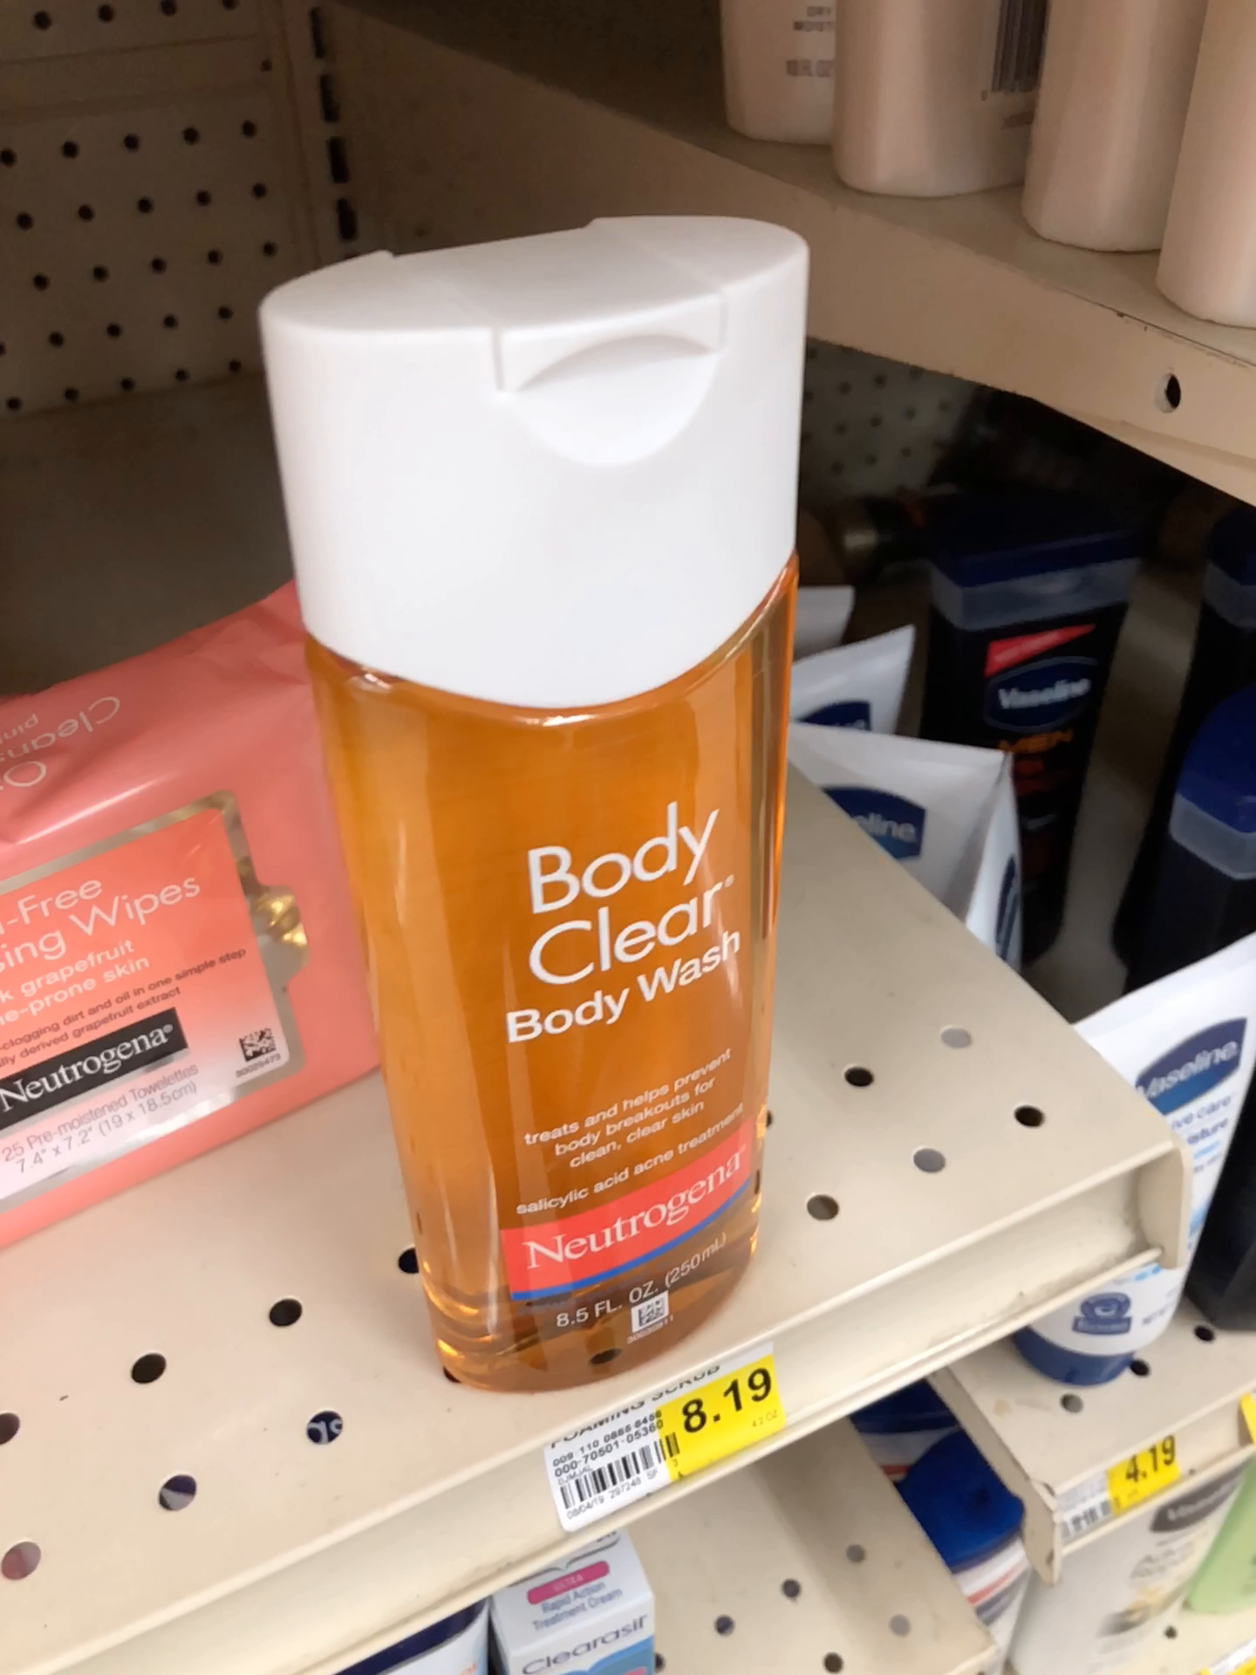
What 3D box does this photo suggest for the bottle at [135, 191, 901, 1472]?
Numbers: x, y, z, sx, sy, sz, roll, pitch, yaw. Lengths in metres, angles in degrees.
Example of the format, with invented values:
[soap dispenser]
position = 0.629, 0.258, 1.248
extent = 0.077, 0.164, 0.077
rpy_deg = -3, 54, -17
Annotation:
[bottle]
position = -0.012, 0.014, 0.211
extent = 0.070, 0.190, 0.045
rpy_deg = -18, 43, -20
